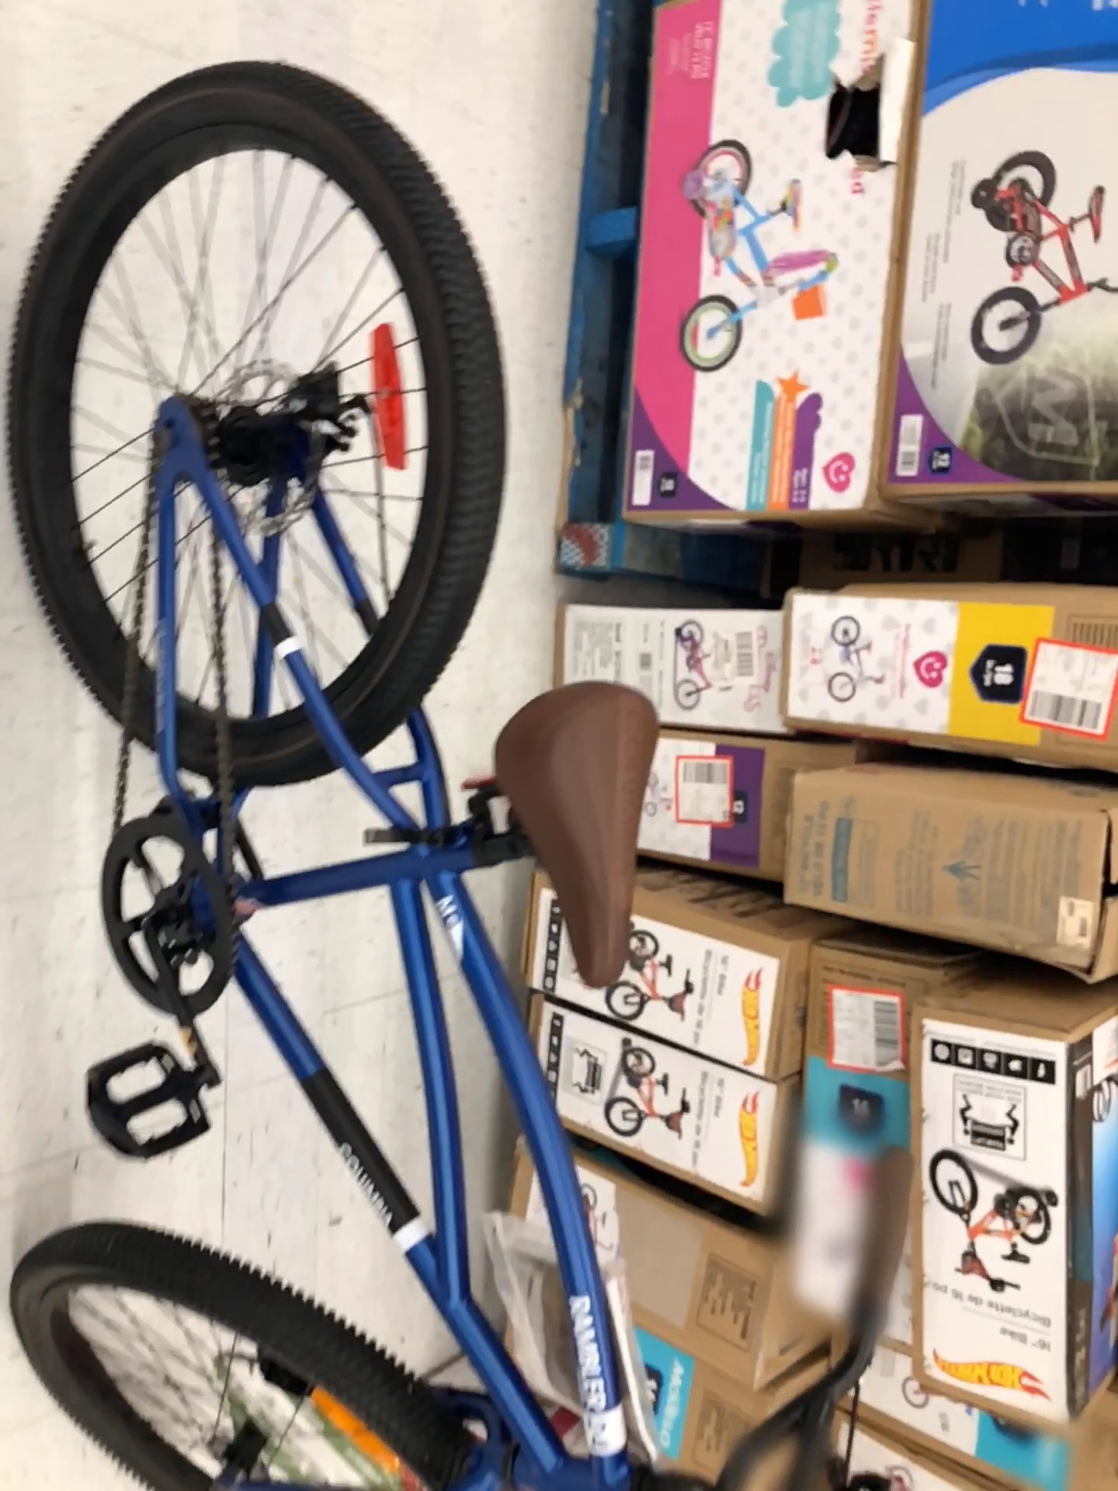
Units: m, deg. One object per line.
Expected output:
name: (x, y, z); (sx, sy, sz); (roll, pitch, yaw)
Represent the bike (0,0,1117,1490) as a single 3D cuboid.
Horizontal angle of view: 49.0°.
bike: (-0.096, 0.223, 1.115); (0.652, 0.928, 1.552); (-16, 109, -48)
